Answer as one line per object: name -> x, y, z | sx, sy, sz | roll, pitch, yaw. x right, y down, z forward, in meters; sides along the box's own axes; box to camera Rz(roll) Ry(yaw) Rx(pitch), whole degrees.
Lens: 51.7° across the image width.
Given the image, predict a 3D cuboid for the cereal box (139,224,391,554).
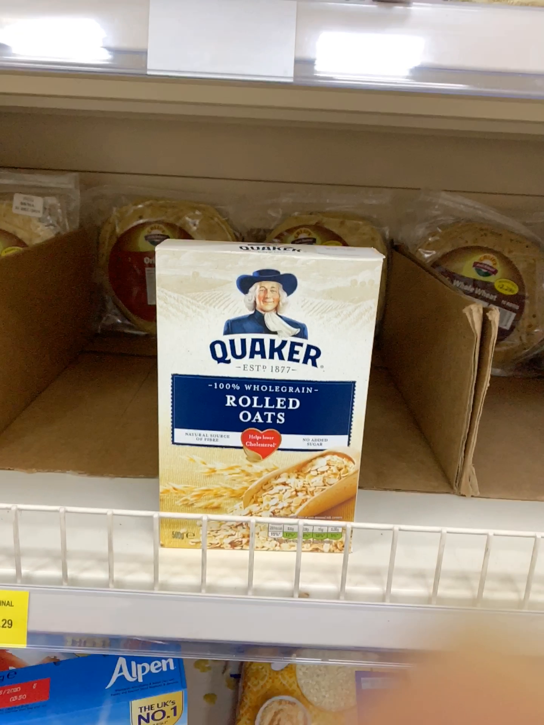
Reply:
cereal box -> -0.009, 0.021, 0.396 | 0.150, 0.218, 0.060 | 2, 18, -2
